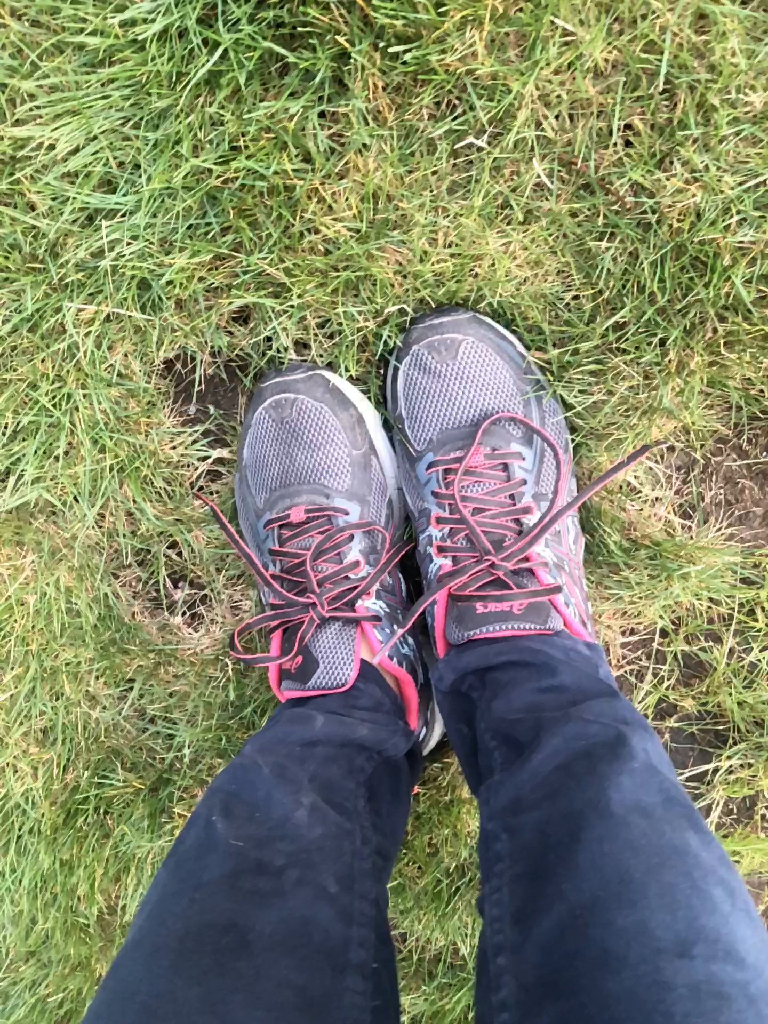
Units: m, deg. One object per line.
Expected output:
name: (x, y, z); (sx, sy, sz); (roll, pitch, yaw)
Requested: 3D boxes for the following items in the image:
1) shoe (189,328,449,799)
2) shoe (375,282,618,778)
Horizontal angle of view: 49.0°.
shoe: (-0.029, 0.025, 0.506); (0.088, 0.120, 0.245); (-9, 97, 11)
shoe: (0.066, 0.006, 0.493); (0.090, 0.120, 0.250); (-8, 100, 7)
